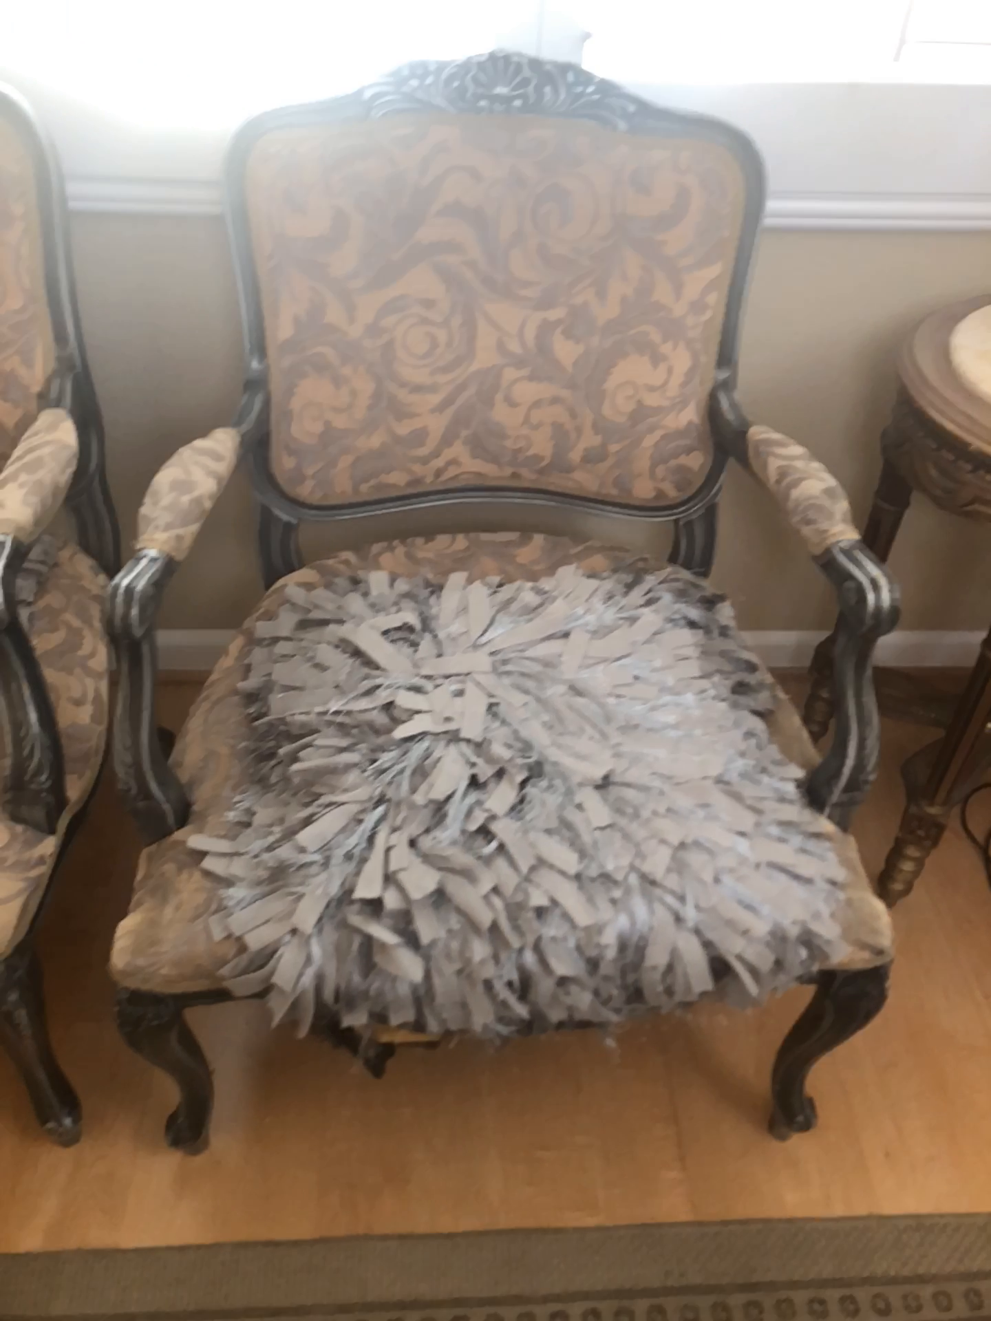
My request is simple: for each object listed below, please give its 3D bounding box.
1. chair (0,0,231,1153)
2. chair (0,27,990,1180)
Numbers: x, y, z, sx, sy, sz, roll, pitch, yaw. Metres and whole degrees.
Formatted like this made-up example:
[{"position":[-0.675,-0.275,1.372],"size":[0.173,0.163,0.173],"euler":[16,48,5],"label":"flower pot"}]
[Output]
[{"position":[-0.737,-0.060,1.062],"size":[0.690,0.952,0.605],"euler":[4,42,2],"label":"chair"},{"position":[0.022,-0.063,1.122],"size":[0.740,0.852,0.787],"euler":[-1,43,-4],"label":"chair"}]
